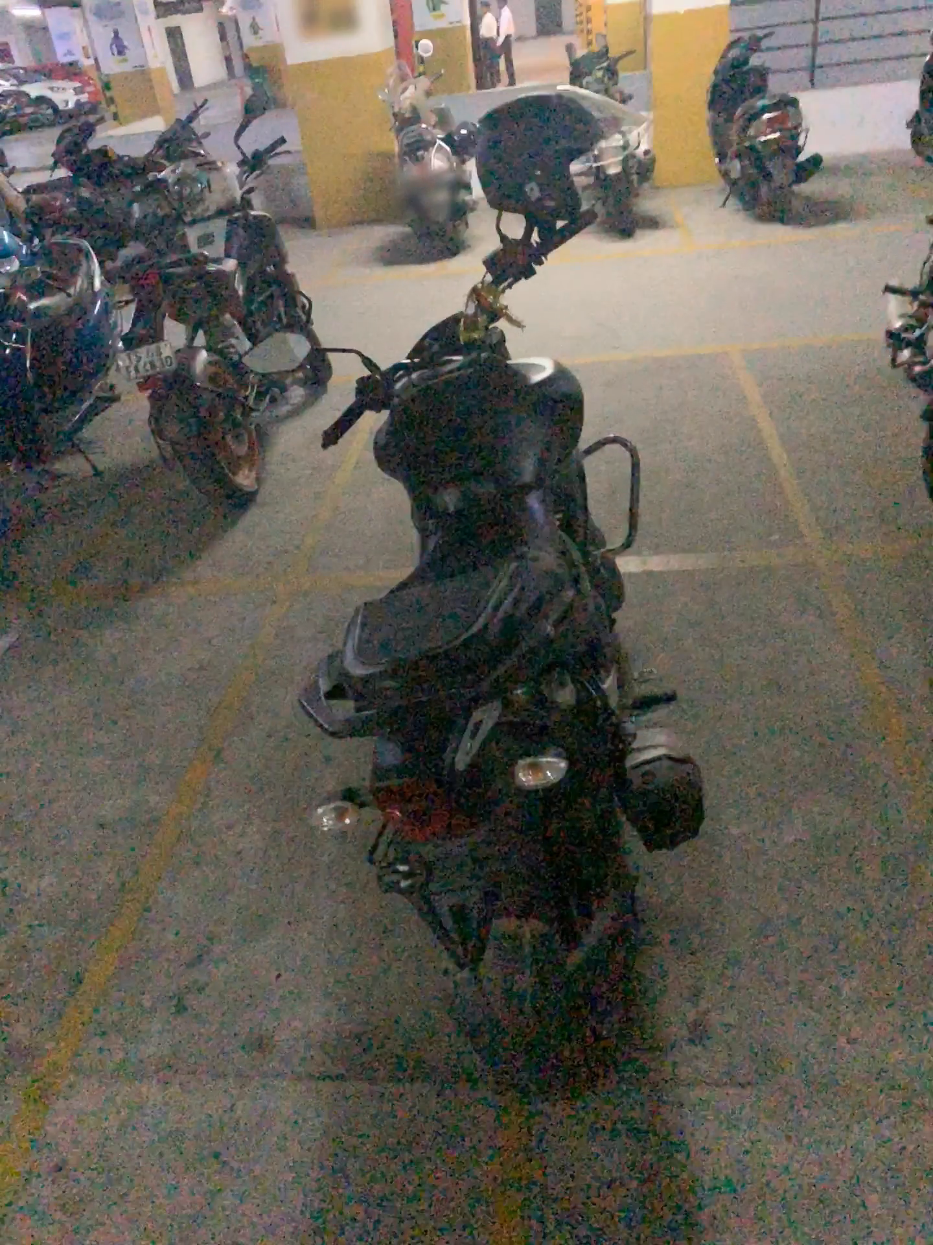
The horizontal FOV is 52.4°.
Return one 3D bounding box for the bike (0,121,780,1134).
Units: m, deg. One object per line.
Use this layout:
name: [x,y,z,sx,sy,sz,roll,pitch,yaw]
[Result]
bike: [-0.116,-0.186,1.896,0.785,1.097,1.744,-7,36,1]
